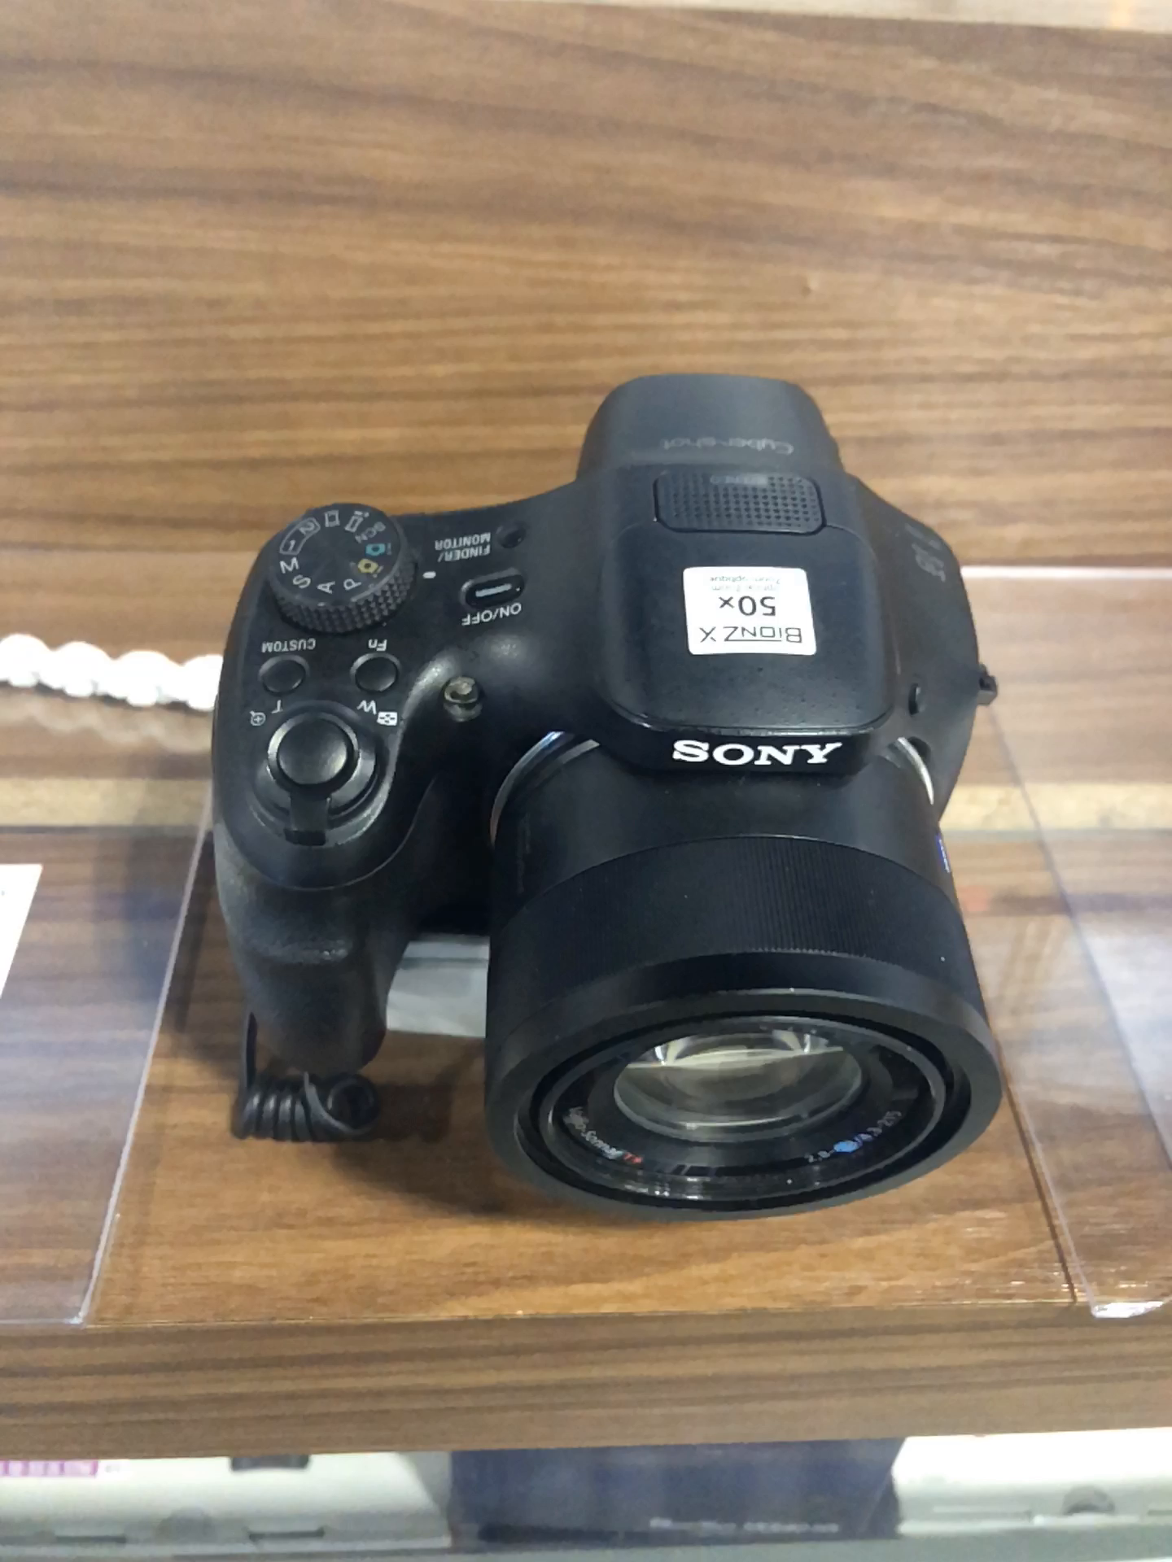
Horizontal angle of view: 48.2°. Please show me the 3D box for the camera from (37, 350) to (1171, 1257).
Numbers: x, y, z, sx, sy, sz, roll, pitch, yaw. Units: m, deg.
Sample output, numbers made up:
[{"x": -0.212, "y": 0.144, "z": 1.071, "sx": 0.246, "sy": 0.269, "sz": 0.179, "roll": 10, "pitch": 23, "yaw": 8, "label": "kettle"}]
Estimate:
[{"x": 0.005, "y": 0.000, "z": 0.201, "sx": 0.125, "sy": 0.084, "sz": 0.110, "roll": 1, "pitch": 42, "yaw": -3, "label": "camera"}]
